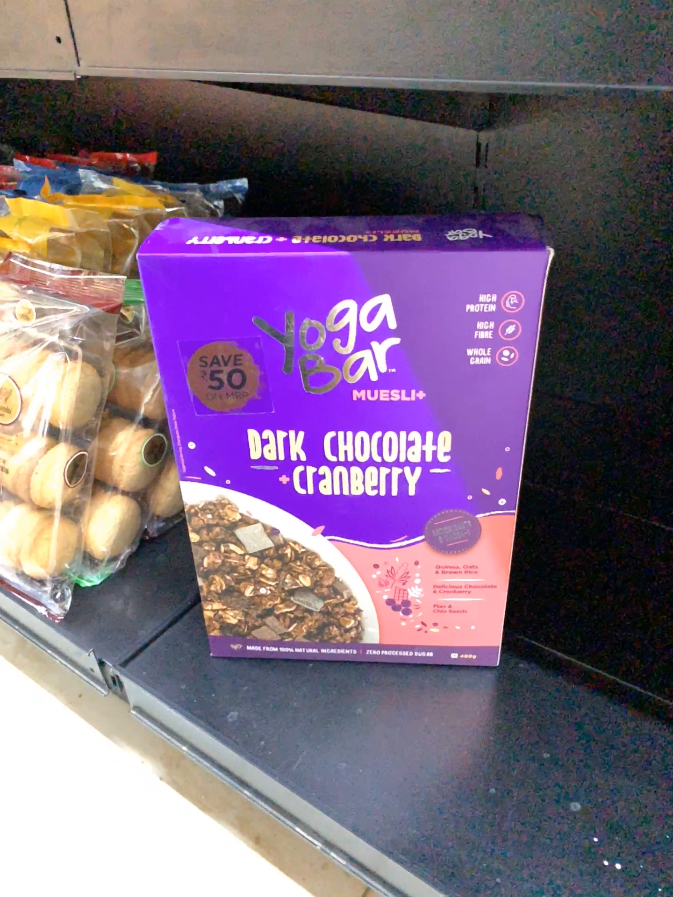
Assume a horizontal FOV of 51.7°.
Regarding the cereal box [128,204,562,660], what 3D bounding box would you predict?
[{"bbox_3d":[0.005,0.001,0.351,0.170,0.228,0.050,2,30,5],"label":"cereal box"}]
